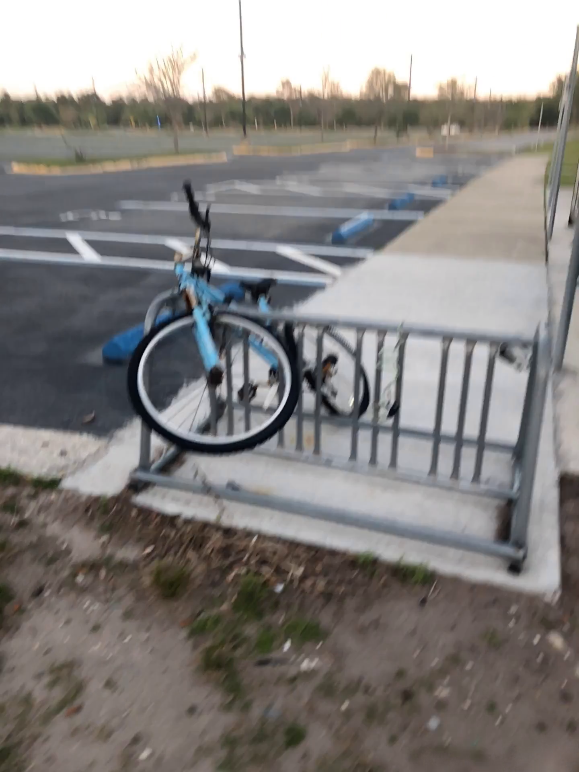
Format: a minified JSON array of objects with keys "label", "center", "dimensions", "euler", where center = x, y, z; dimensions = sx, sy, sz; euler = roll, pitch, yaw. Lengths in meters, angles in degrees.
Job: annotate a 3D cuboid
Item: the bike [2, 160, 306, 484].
[{"label":"bike","center":[-0.483,-0.314,2.631],"dimensions":[0.549,1.128,0.939],"euler":[19,27,40]}]
